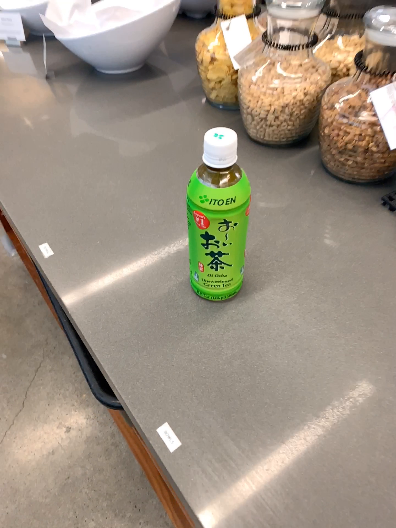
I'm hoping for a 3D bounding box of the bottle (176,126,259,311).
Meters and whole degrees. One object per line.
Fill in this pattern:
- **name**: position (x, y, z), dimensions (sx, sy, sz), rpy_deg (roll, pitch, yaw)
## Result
- **bottle**: position (0.020, -0.039, 0.441), dimensions (0.070, 0.199, 0.070), rpy_deg (-1, 47, 1)
